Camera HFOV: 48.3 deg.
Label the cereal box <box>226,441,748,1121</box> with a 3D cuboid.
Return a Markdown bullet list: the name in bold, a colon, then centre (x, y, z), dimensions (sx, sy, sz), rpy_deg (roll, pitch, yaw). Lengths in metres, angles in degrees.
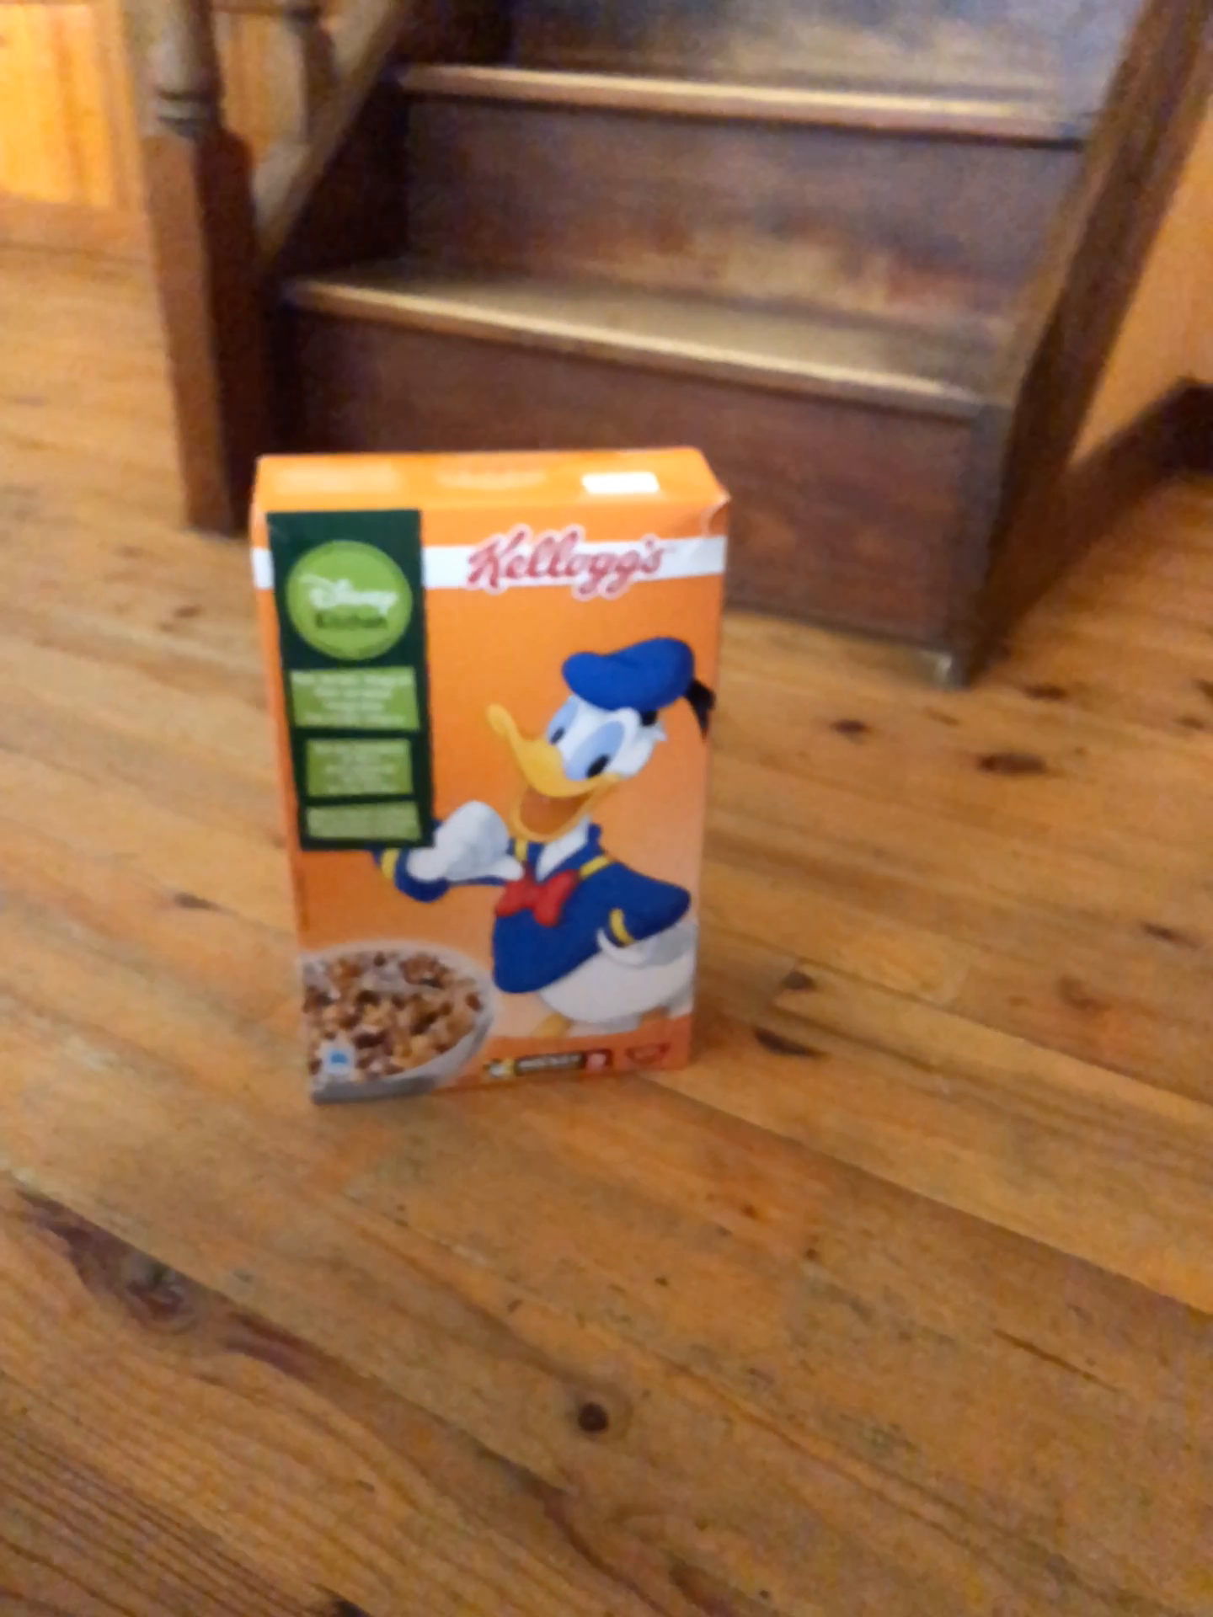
- **cereal box**: centre (-0.056, -0.009, 0.629), dimensions (0.200, 0.298, 0.090), rpy_deg (-3, 29, -10)
